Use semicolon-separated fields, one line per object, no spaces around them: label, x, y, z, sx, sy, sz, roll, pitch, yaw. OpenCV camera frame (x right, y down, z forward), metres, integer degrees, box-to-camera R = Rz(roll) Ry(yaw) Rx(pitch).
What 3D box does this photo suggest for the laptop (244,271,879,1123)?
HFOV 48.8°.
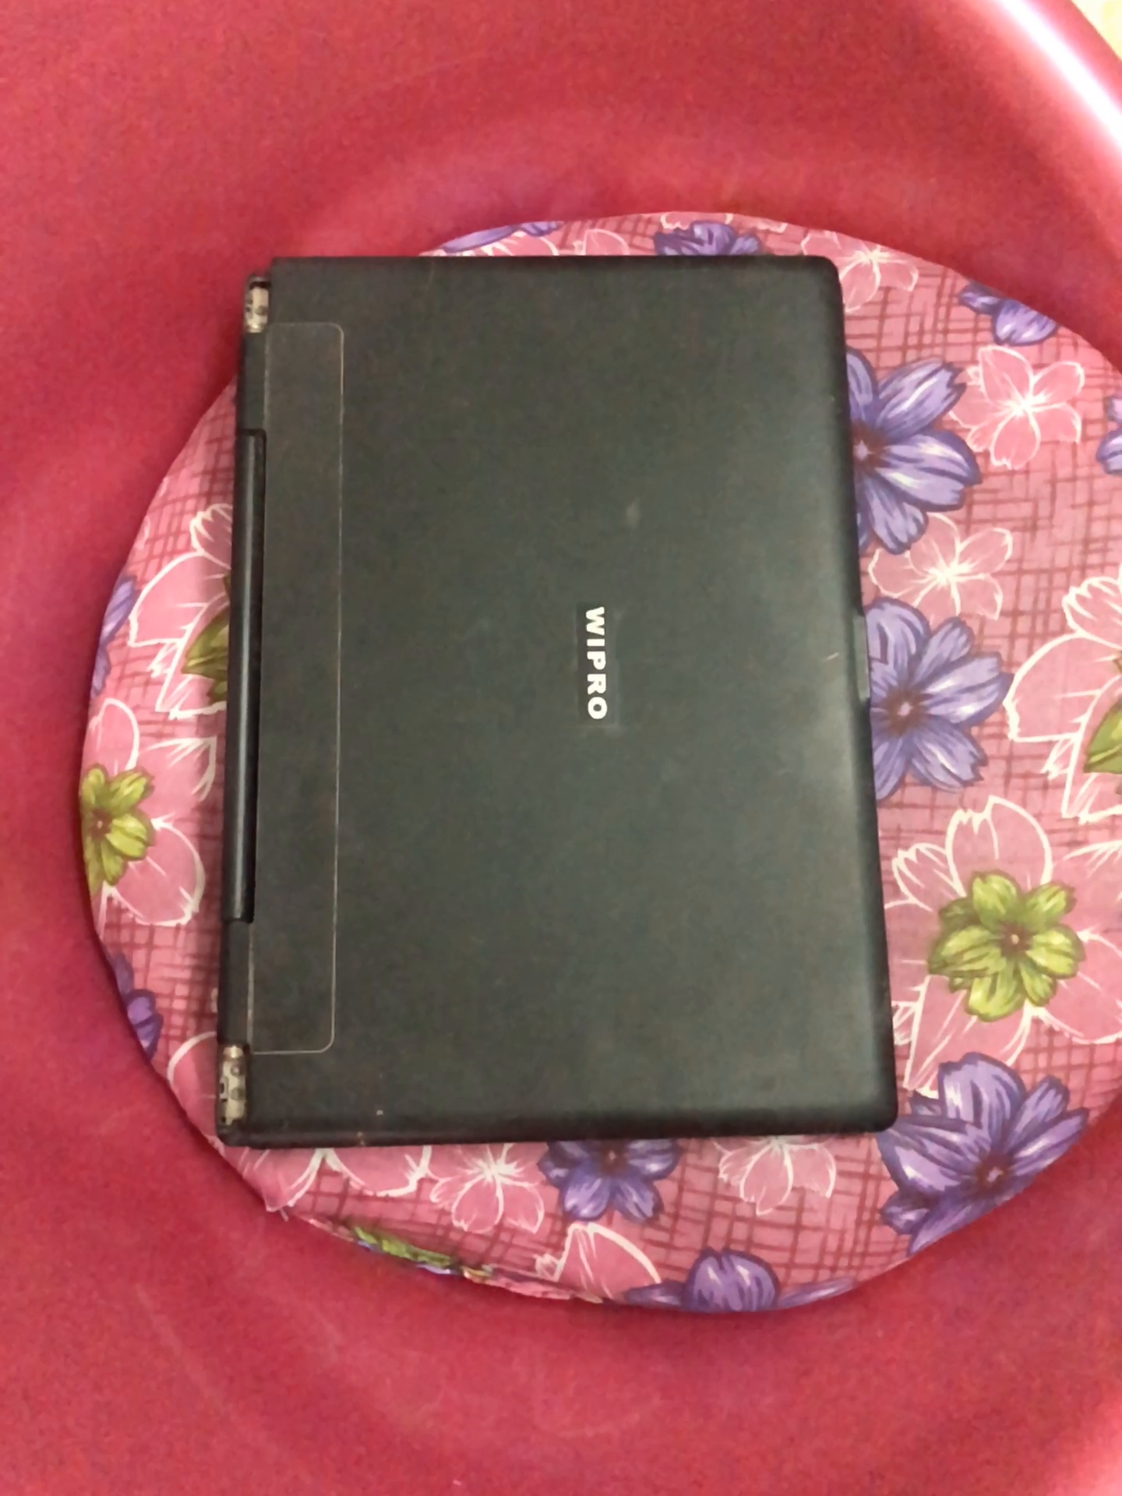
laptop;-0.002;-0.029;0.462;0.220;0.006;0.322;-1;79;0
